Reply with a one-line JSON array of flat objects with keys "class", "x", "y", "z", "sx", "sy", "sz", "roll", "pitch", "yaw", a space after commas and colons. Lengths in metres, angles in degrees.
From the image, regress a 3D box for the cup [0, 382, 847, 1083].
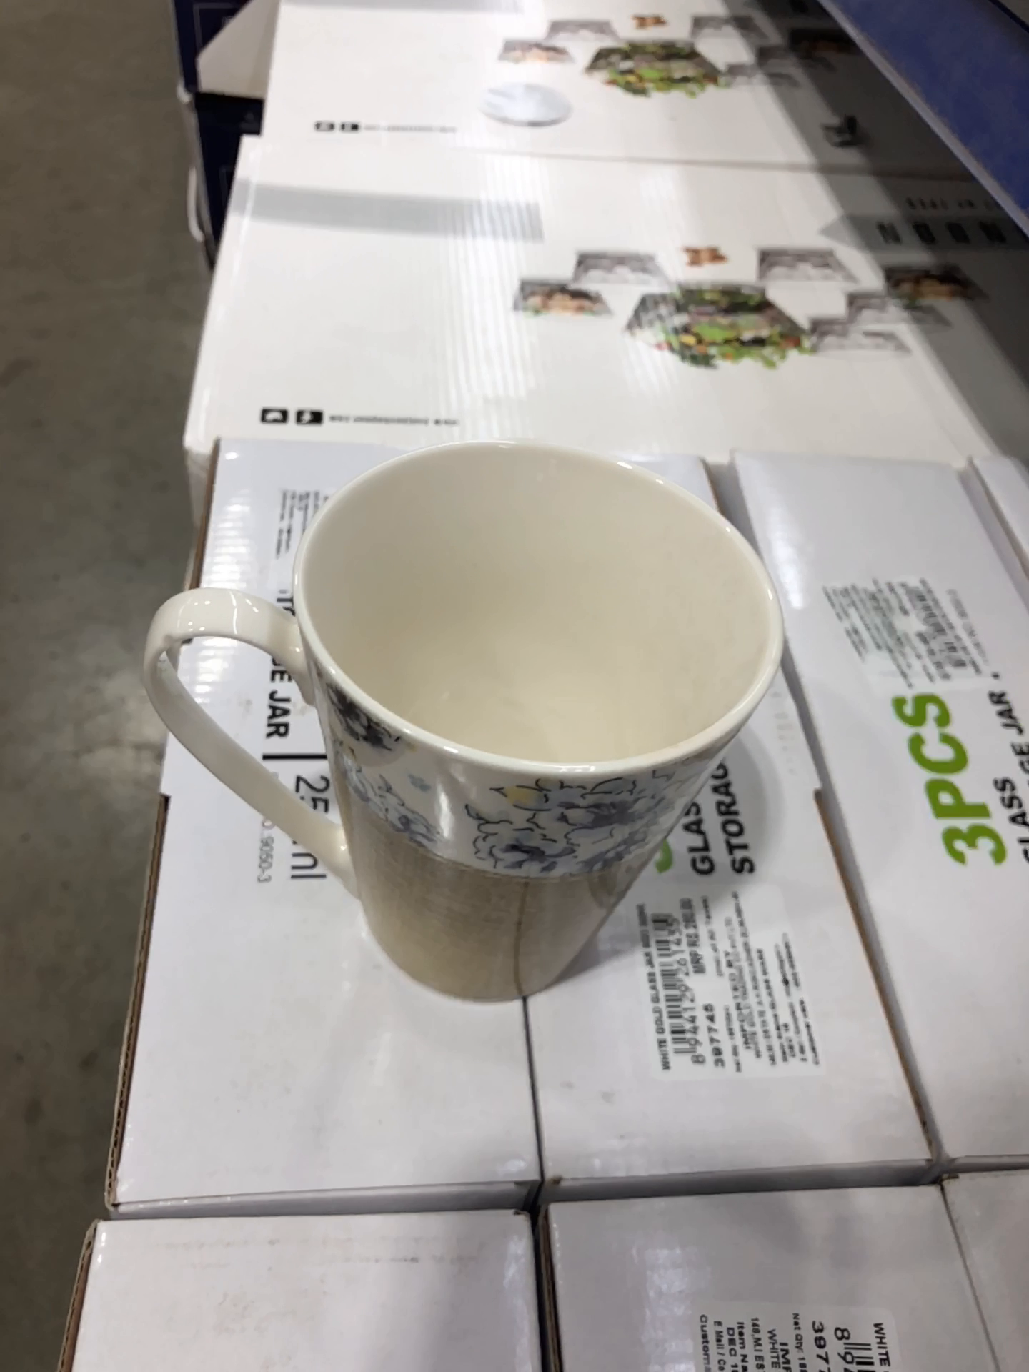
[{"class": "cup", "x": -0.016, "y": 0.012, "z": 0.242, "sx": 0.130, "sy": 0.100, "sz": 0.090, "roll": 6, "pitch": 47, "yaw": -1}]
